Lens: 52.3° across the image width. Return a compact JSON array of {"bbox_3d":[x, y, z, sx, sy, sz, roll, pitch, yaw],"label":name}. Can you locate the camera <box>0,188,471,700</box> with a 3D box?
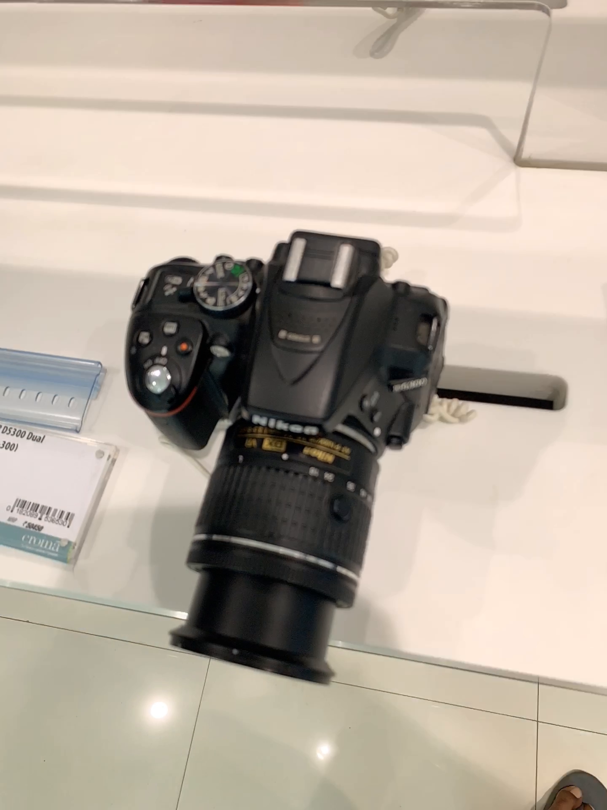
[{"bbox_3d":[-0.011,0.019,0.229,0.110,0.110,0.140,10,66,11],"label":"camera"}]
